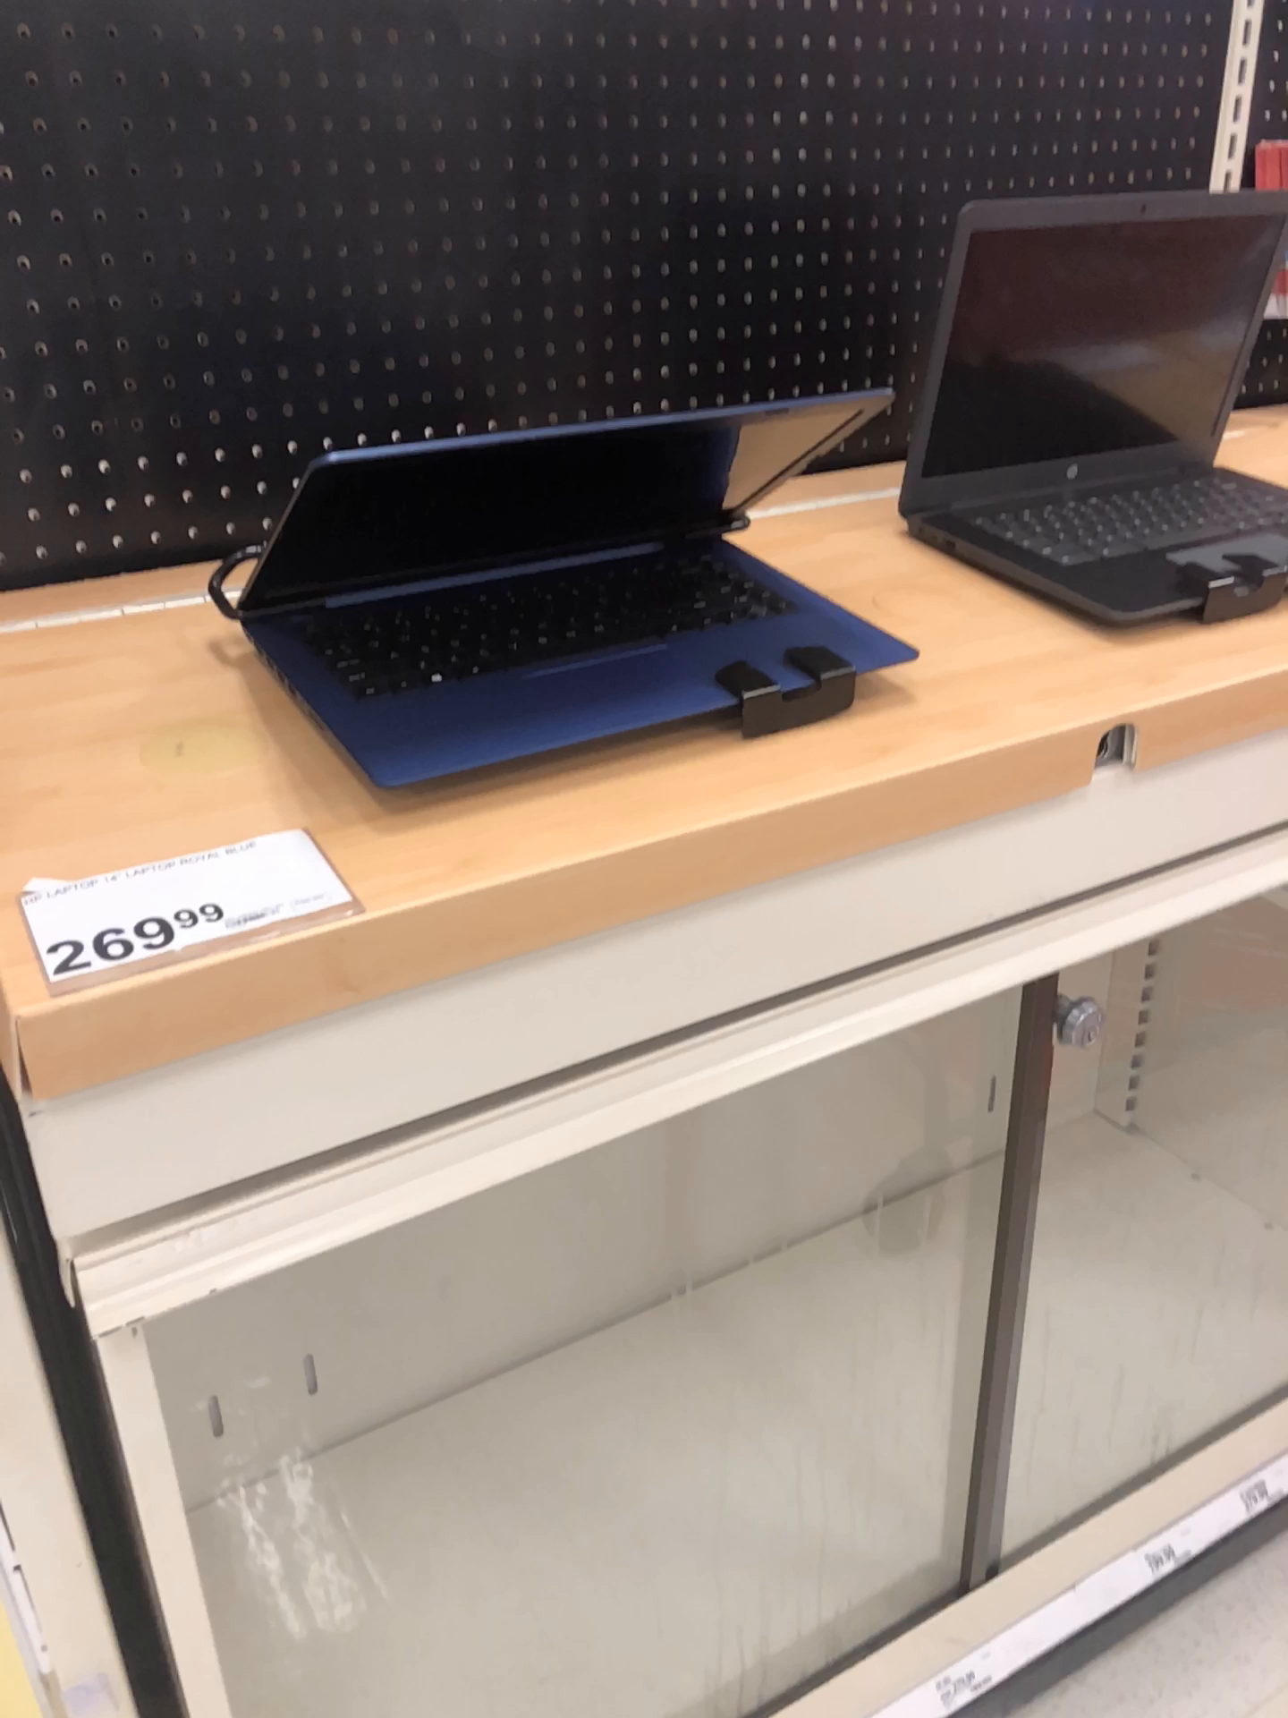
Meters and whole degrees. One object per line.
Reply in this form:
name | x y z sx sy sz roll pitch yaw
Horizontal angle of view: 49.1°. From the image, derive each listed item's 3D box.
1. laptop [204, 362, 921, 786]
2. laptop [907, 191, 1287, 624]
laptop | -0.041 -0.173 0.768 0.321 0.110 0.201 -16 35 -27
laptop | 0.379 -0.331 0.979 0.331 0.206 0.224 -15 31 -25
